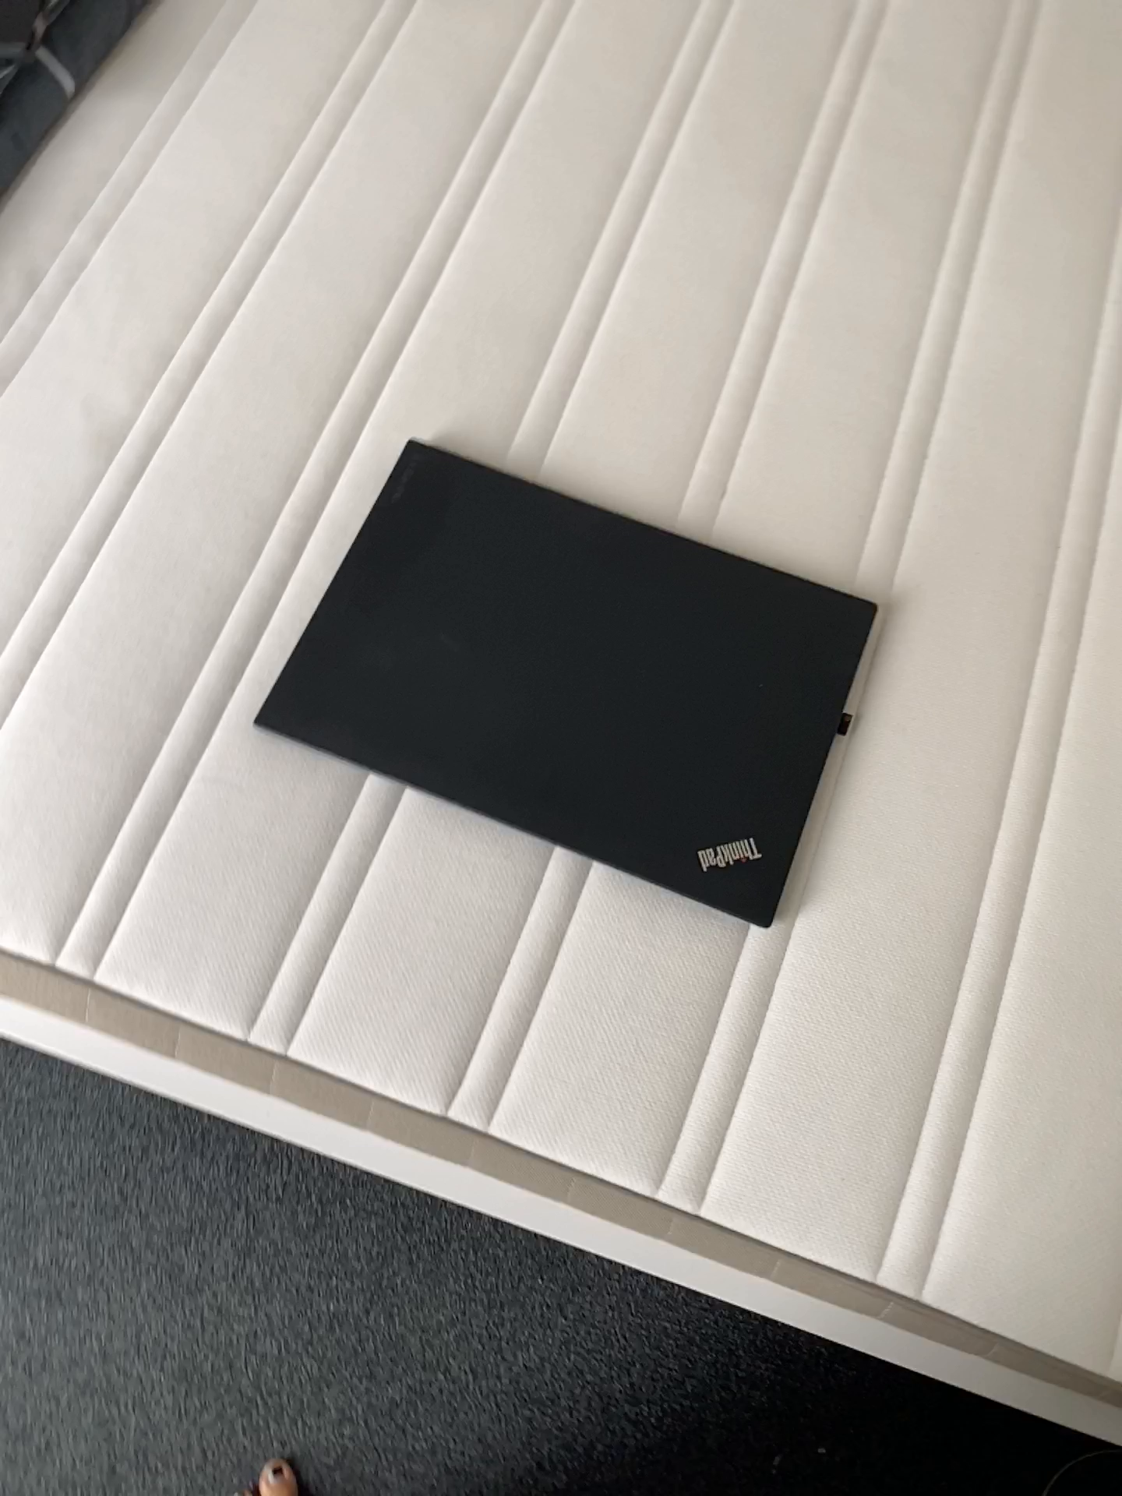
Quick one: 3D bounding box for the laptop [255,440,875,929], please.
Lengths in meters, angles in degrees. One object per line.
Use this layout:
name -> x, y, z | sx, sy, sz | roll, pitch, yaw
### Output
laptop -> 0.007, -0.044, 0.629 | 0.288, 0.005, 0.193 | 21, 71, 6
